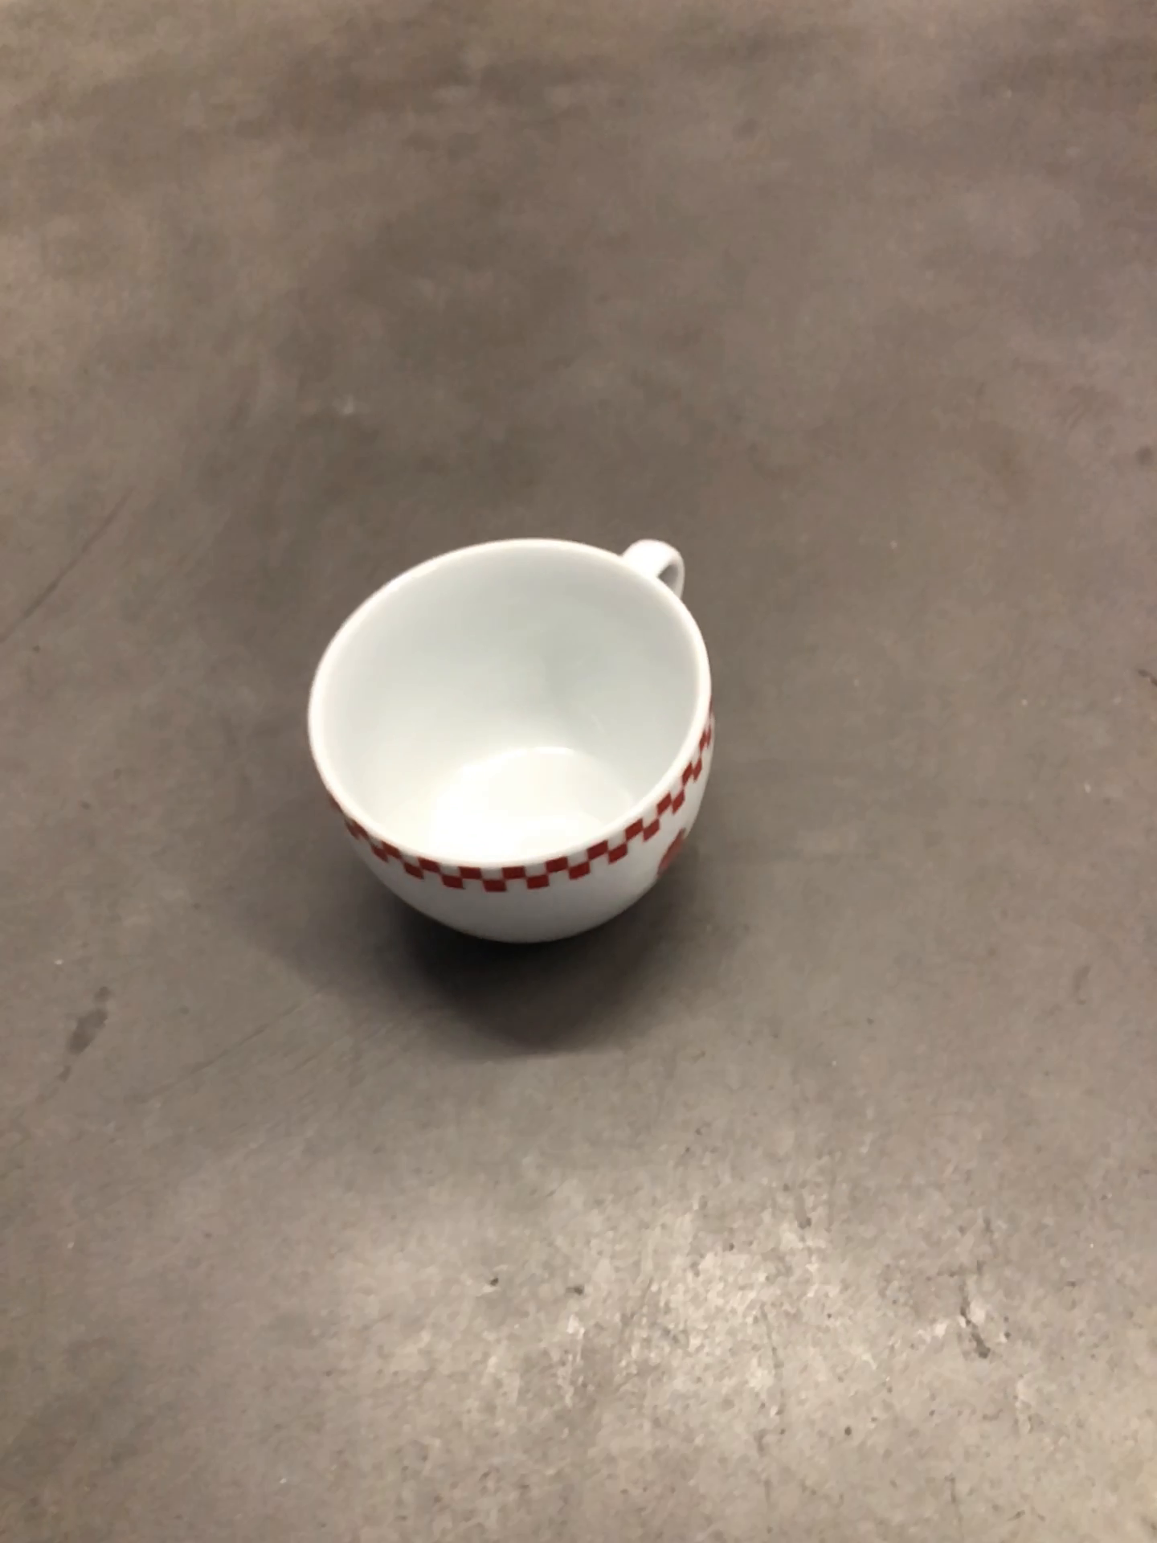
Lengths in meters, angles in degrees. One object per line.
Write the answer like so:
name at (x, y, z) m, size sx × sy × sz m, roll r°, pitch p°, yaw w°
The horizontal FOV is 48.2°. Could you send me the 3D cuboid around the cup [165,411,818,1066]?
cup at (-0.013, -0.012, 0.289) m, size 0.088 × 0.058 × 0.111 m, roll 24°, pitch 60°, yaw 22°
